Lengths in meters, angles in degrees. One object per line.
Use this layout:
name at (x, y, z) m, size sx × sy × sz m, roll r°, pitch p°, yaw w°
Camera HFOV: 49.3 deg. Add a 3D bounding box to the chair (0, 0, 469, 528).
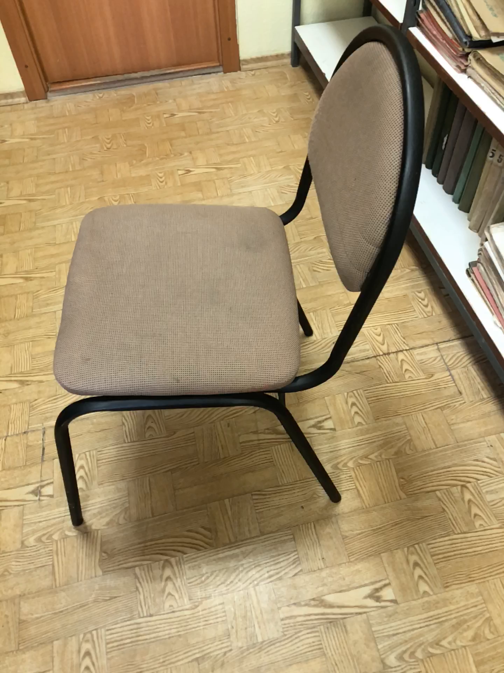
chair at (-0.106, -0.081, 0.909) m, size 0.573 × 0.768 × 0.481 m, roll -5°, pitch 52°, yaw -1°
